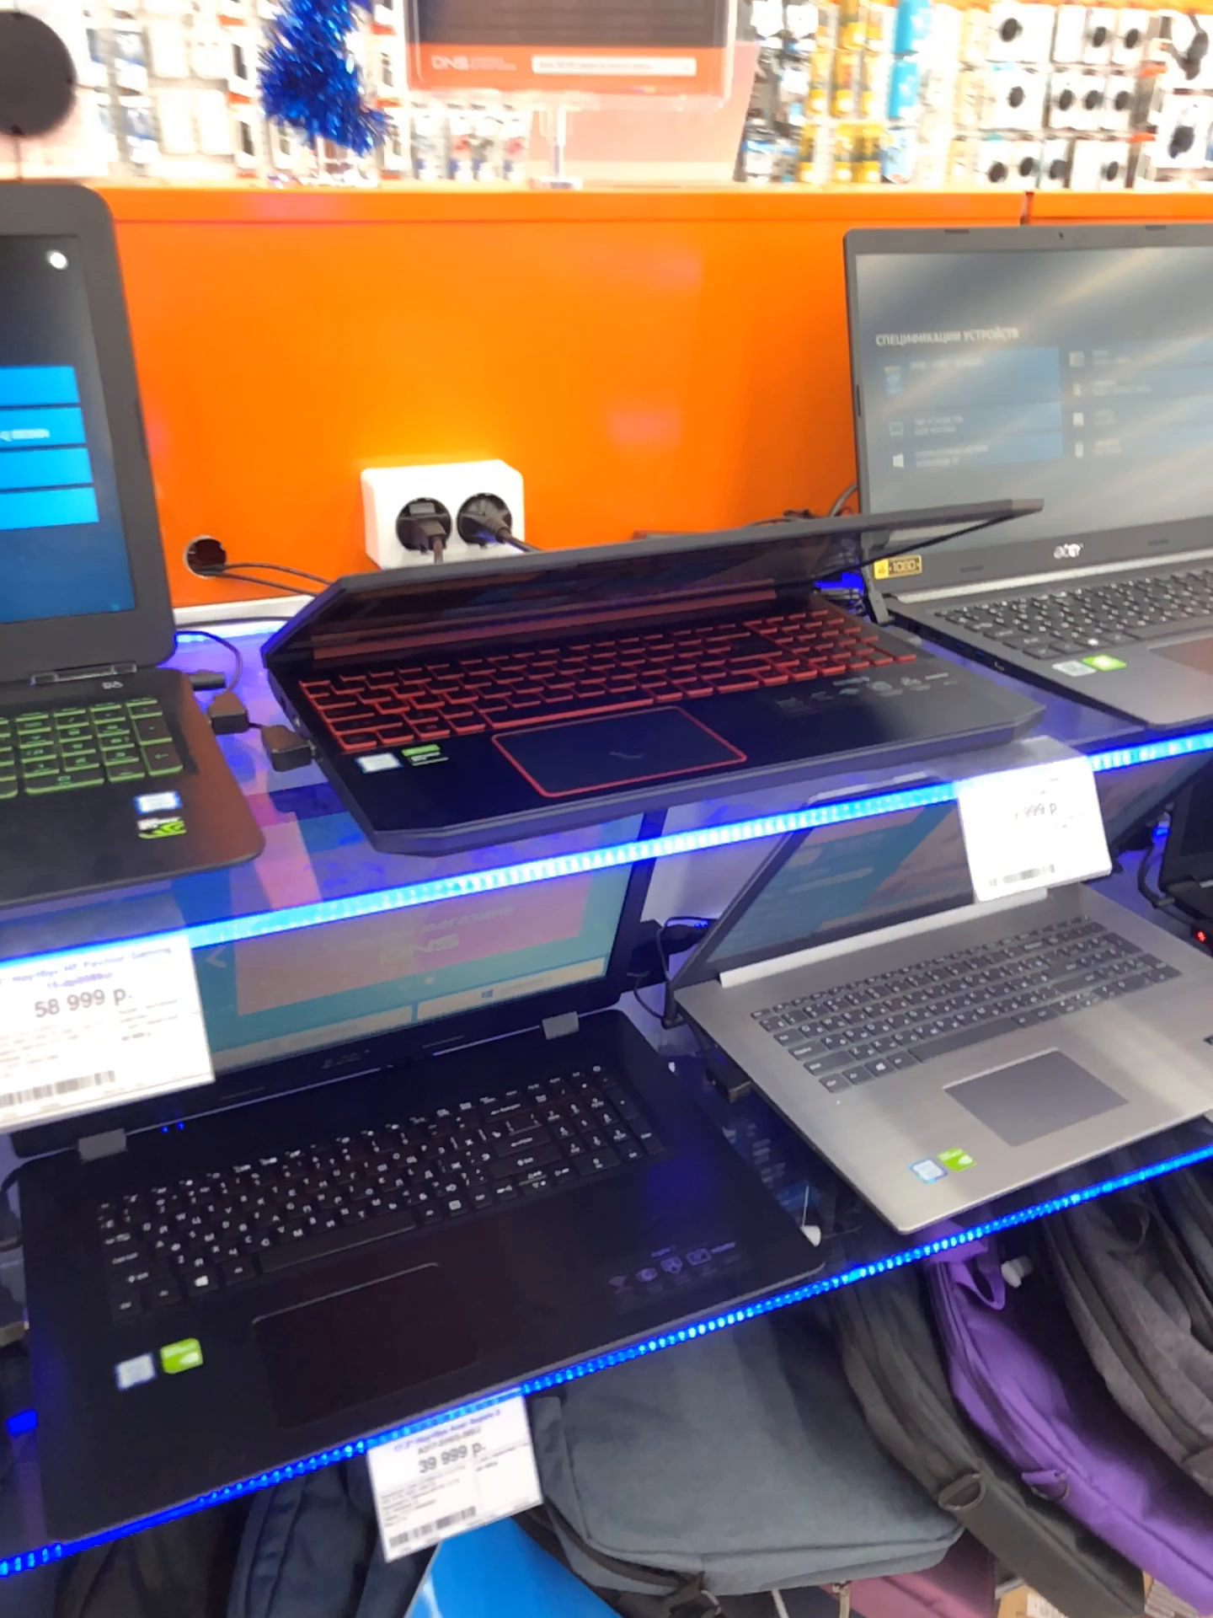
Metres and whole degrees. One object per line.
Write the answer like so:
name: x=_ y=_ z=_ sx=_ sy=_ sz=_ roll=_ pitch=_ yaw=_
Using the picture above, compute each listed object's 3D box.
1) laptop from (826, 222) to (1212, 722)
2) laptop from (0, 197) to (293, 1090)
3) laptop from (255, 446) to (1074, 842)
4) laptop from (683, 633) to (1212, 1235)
laptop: x=0.386 y=-0.241 z=0.843 sx=0.343 sy=0.226 sz=0.313 roll=-12 pitch=28 yaw=-23
laptop: x=-0.395 y=-0.117 z=0.554 sx=0.415 sy=0.250 sz=0.311 roll=-11 pitch=27 yaw=-22
laptop: x=0.020 y=-0.111 z=0.716 sx=0.358 sy=0.103 sz=0.249 roll=-10 pitch=27 yaw=-23
laptop: x=0.301 y=0.053 z=0.941 sx=0.405 sy=0.221 sz=0.297 roll=-12 pitch=27 yaw=-23
